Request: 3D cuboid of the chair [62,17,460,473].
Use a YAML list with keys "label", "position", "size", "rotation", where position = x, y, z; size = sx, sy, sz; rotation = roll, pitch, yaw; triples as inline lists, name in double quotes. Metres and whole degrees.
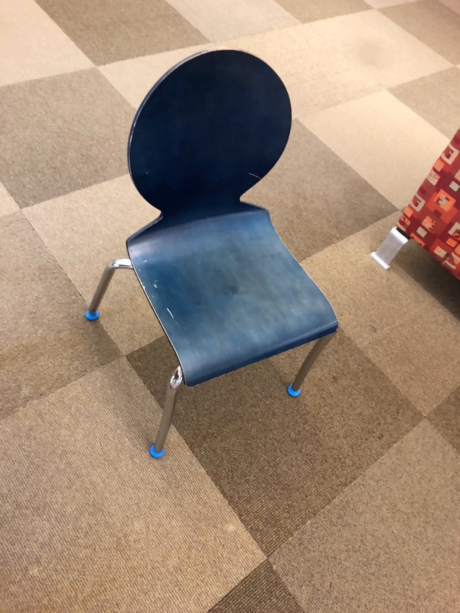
- label: "chair"
  position: [0.008, -0.092, 1.020]
  size: [0.498, 0.699, 0.474]
  rotation: [-18, 61, -25]
